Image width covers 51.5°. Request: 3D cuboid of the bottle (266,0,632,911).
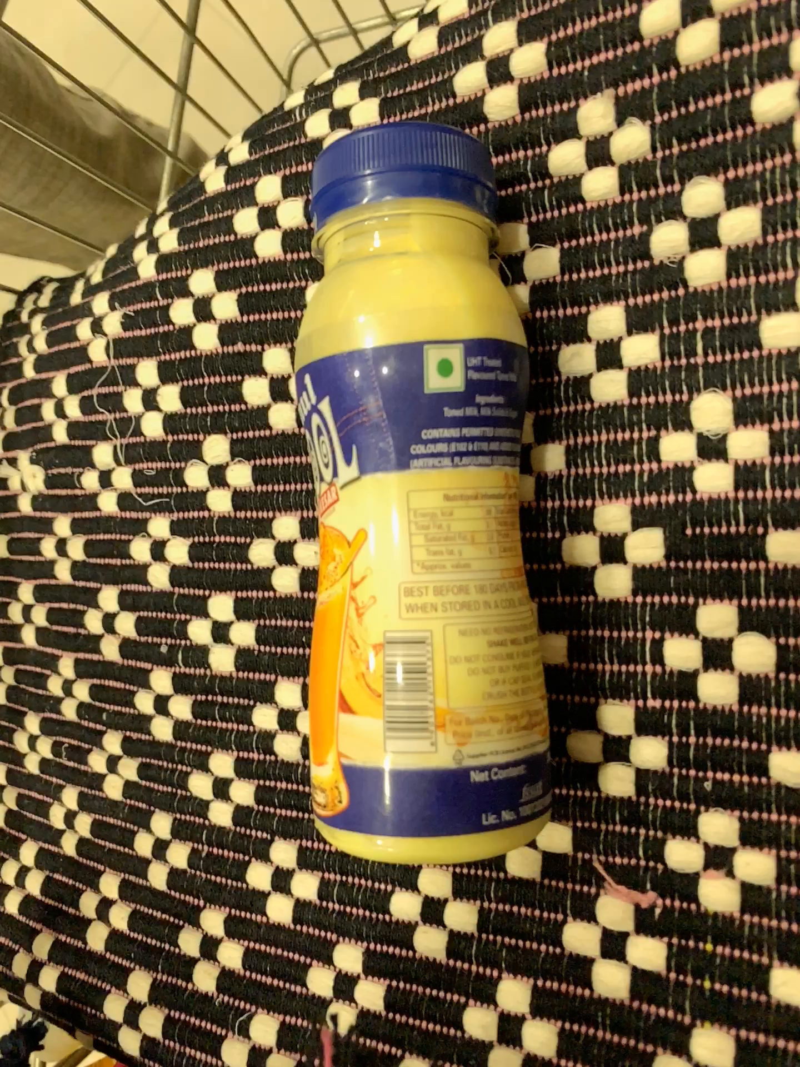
[{"bbox_3d":[0.005,-0.017,0.175,0.060,0.060,0.160,1,87,-14],"label":"bottle"}]
